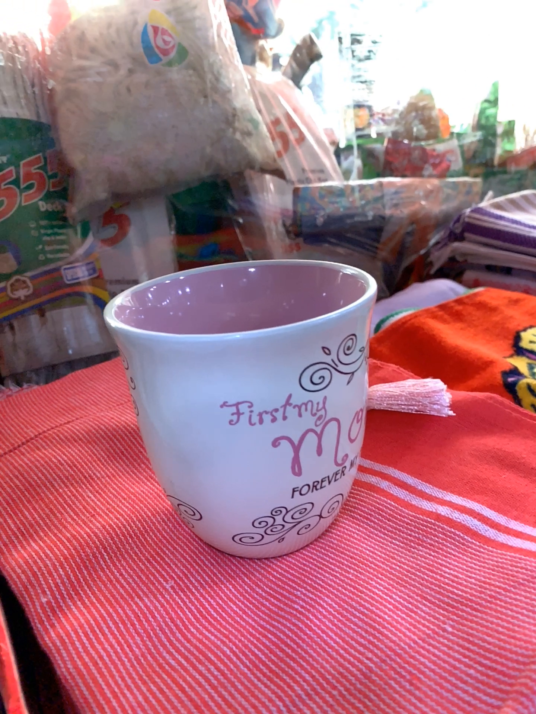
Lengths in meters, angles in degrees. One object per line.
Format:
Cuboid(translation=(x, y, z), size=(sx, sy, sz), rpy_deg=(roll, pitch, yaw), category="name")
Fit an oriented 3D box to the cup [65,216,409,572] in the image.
Cuboid(translation=(0.006, 0.001, 0.223), size=(0.093, 0.080, 0.131), rpy_deg=(0, 25, 15), category="cup")
